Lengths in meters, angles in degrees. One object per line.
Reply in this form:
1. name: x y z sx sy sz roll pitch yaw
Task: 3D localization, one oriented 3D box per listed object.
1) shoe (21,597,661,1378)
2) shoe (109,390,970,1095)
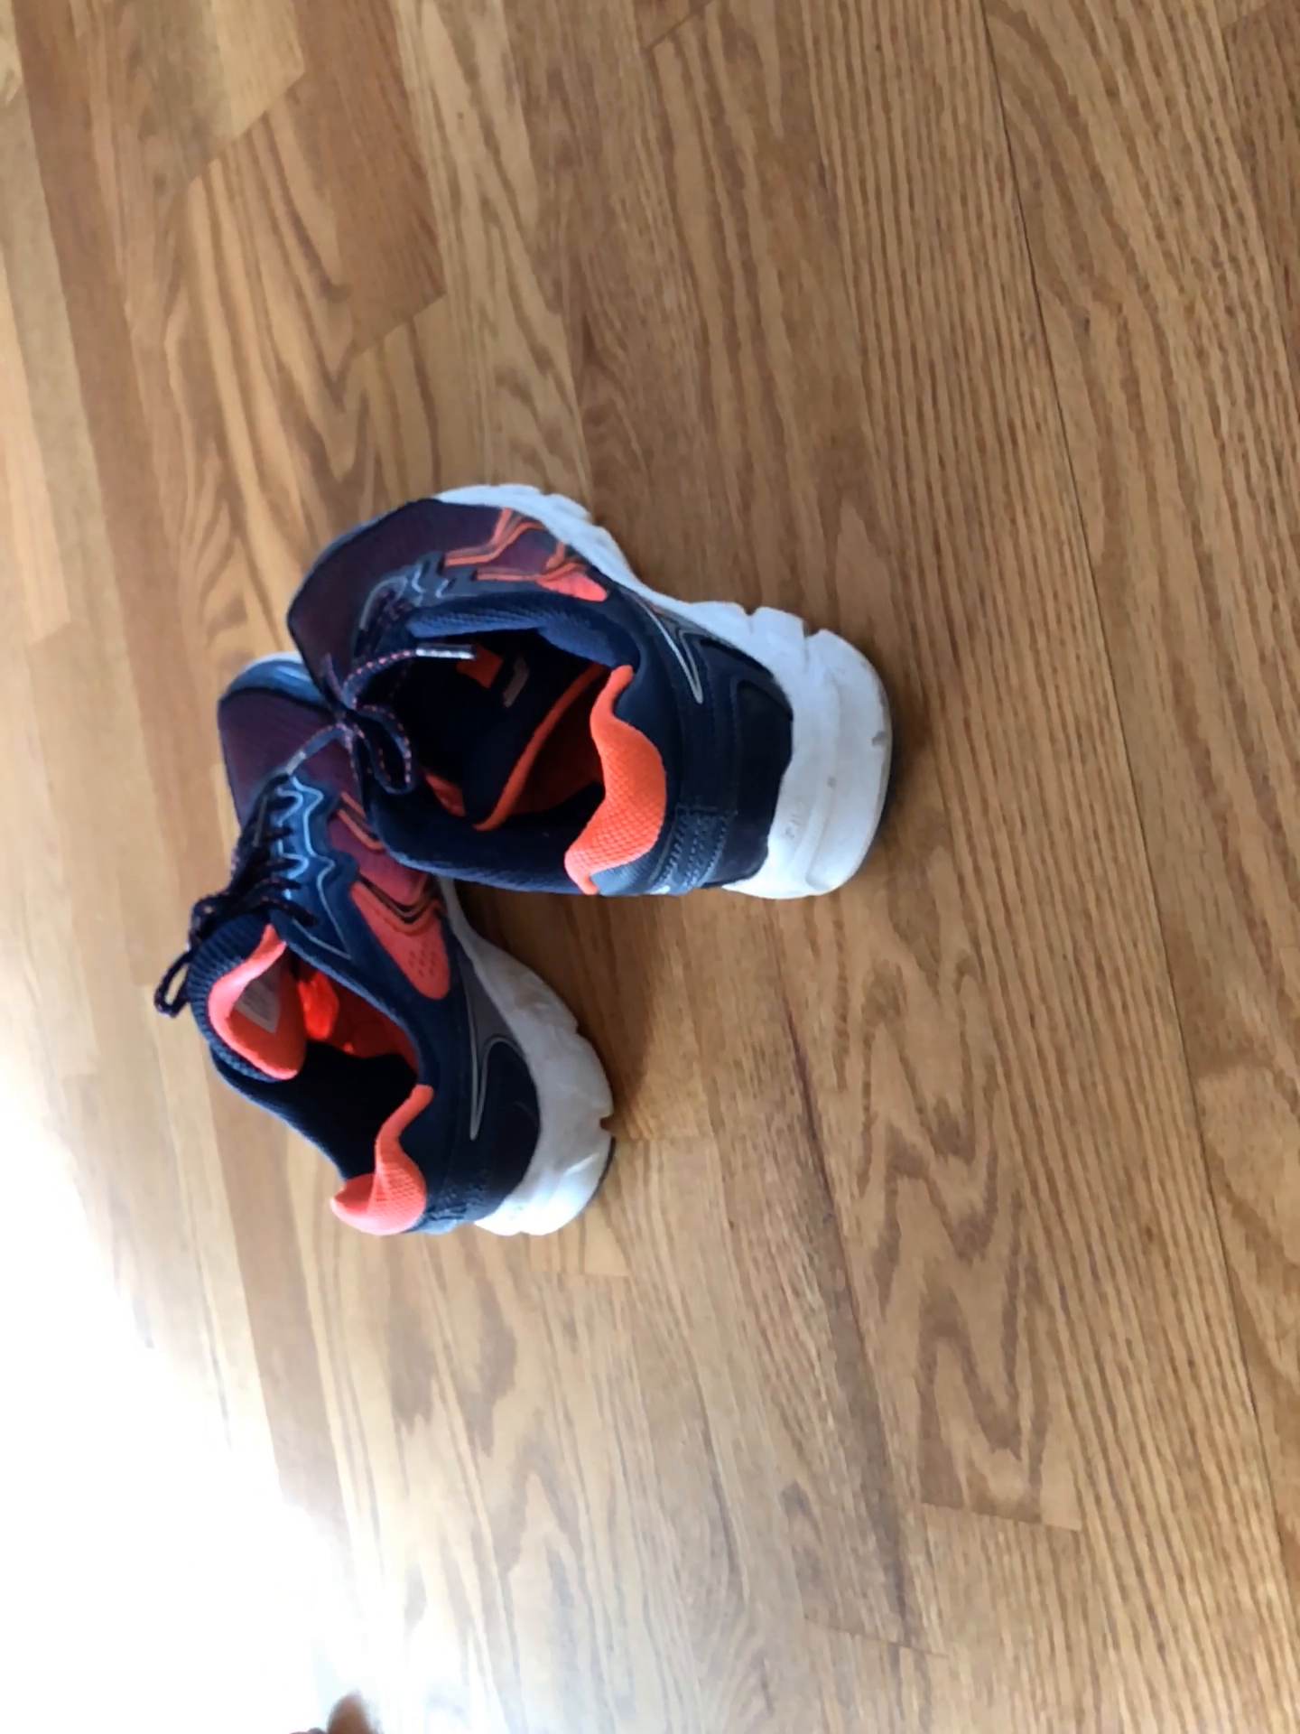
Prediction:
1. shoe: -0.129 0.033 0.557 0.108 0.109 0.270 -49 63 36
2. shoe: -0.056 -0.058 0.474 0.278 0.109 0.116 32 117 36
